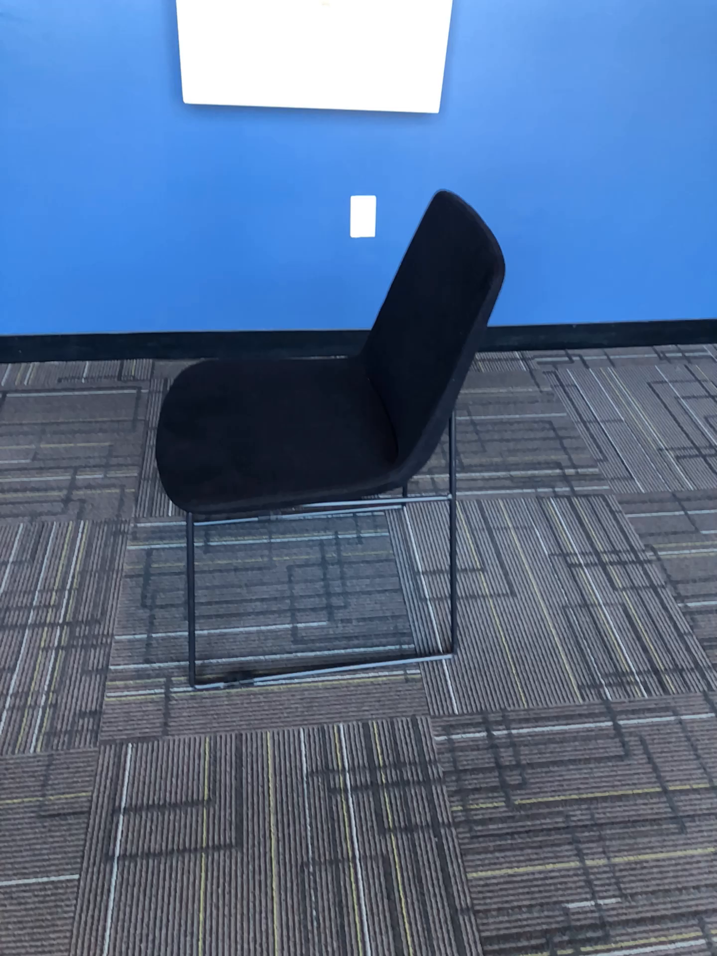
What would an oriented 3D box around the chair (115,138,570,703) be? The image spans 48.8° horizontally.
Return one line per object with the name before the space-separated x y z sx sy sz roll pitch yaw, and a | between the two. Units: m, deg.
chair | -0.078 -0.108 1.394 0.550 0.766 0.563 -6 40 -11
